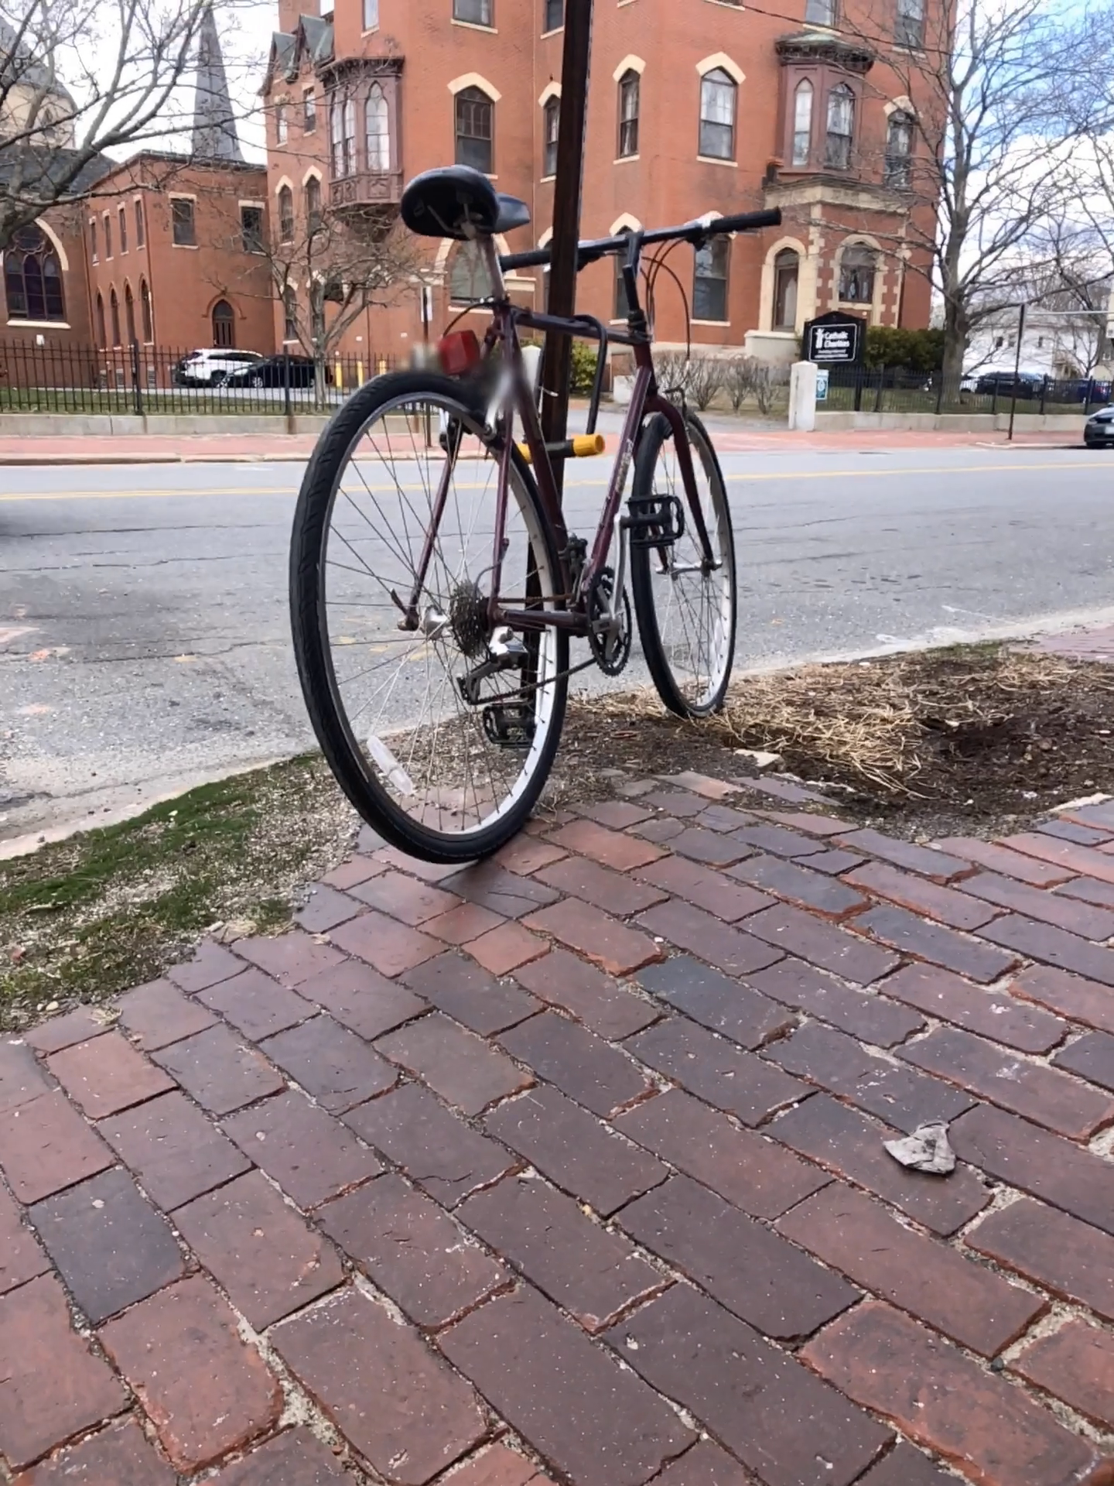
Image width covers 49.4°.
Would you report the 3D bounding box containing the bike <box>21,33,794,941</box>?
[{"bbox_3d":[-0.060,-0.488,2.185,0.554,0.964,1.689,6,17,23],"label":"bike"}]
